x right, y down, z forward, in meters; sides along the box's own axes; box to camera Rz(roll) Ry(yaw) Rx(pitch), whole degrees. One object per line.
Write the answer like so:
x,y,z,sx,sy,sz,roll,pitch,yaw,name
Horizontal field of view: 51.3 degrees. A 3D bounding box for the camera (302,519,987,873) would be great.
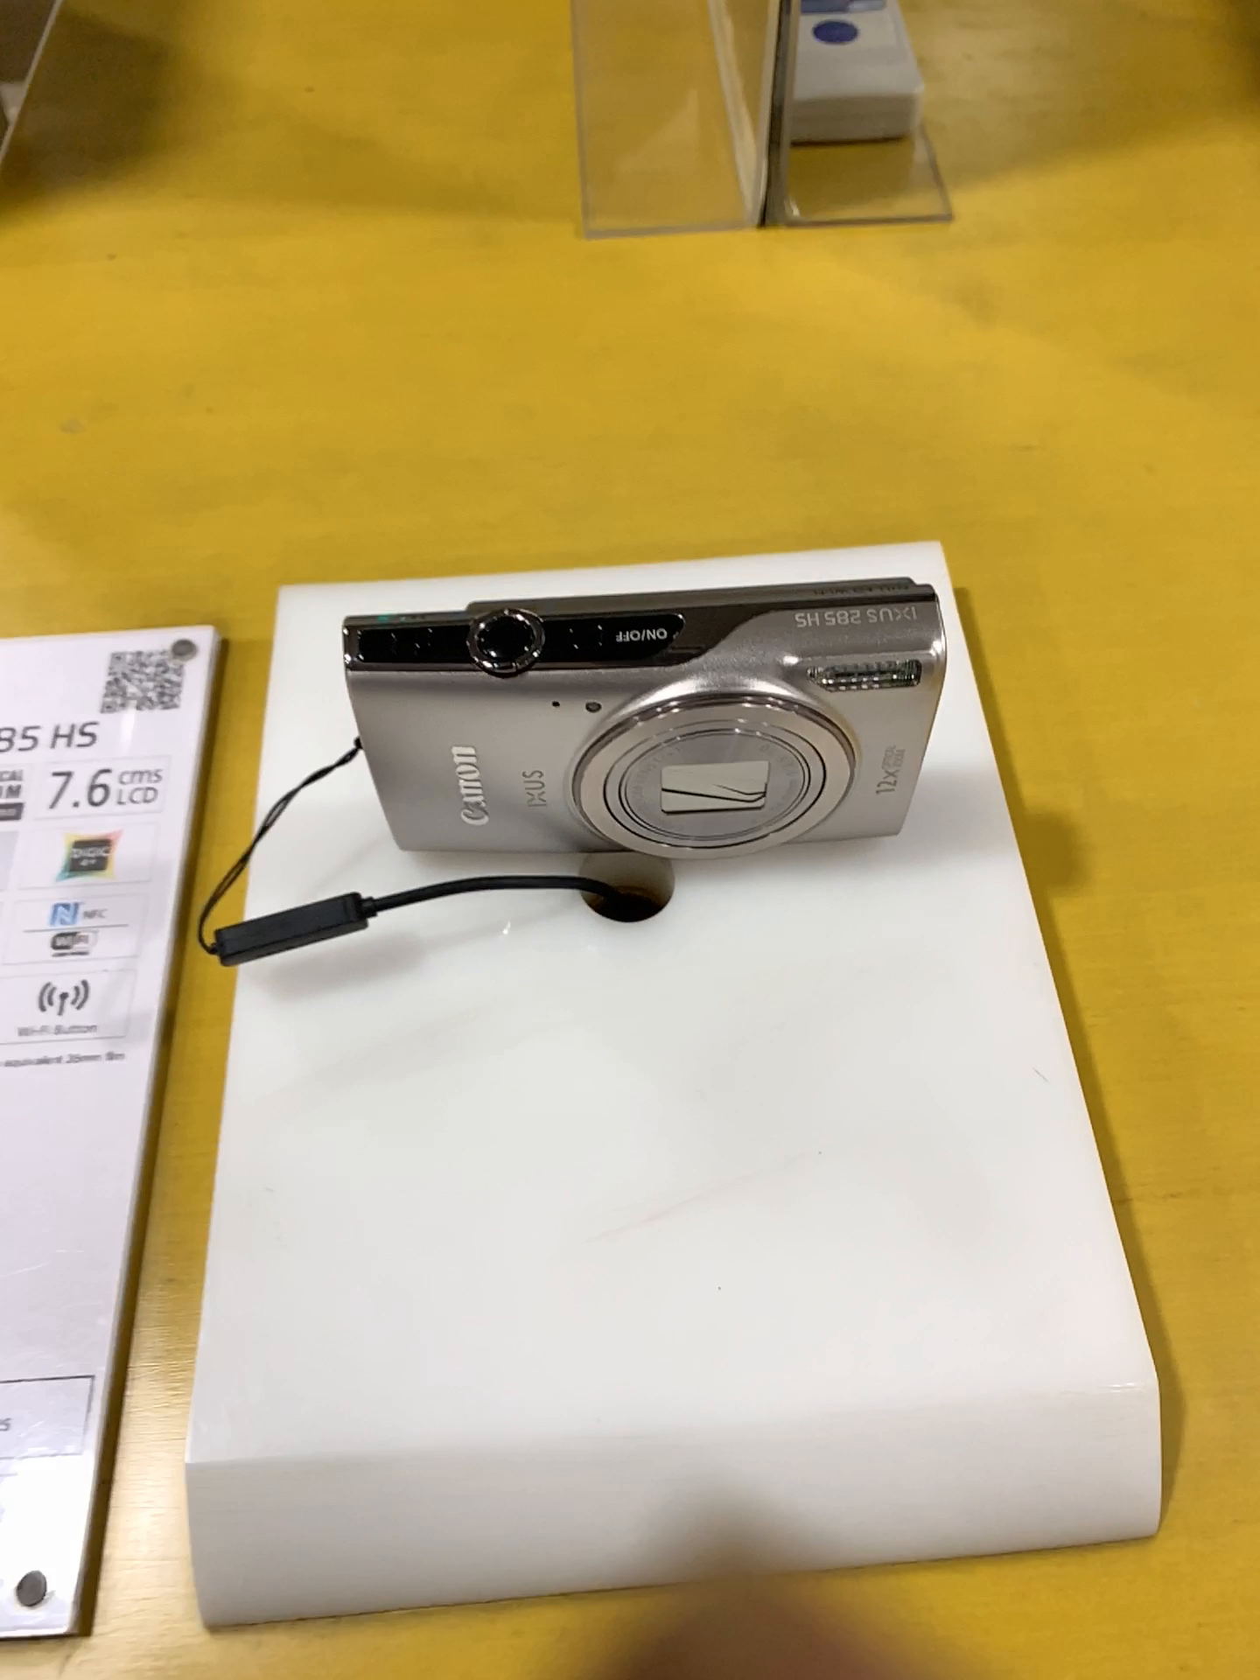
0.002,-0.022,0.220,0.100,0.050,0.030,-3,58,1,camera
